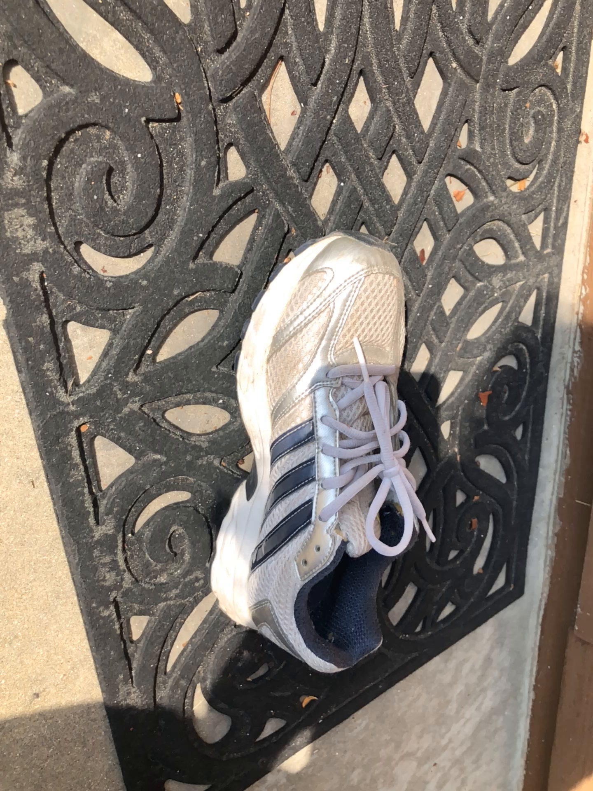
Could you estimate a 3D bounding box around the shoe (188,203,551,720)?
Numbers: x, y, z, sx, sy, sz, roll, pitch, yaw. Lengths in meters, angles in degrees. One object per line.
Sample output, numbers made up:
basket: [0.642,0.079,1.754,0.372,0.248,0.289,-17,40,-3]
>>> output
shoe: [0.032,0.031,0.404,0.111,0.129,0.261,0,108,-38]
